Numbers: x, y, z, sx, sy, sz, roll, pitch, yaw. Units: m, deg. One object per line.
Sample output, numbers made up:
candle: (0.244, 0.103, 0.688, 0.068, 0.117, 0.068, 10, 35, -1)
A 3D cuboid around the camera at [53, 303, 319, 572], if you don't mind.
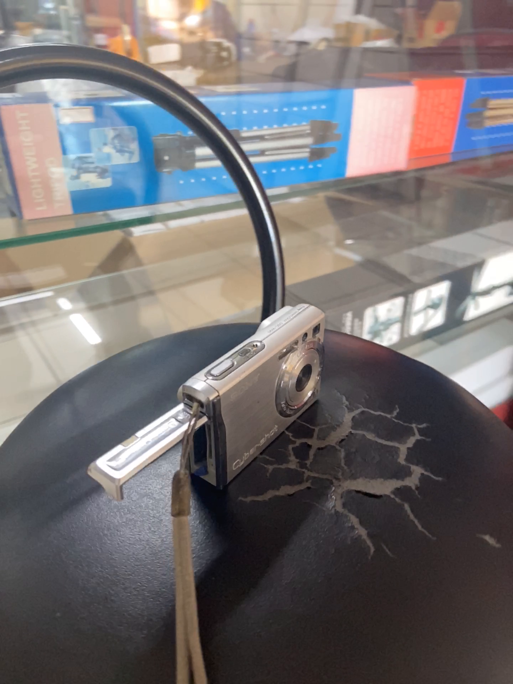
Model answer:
camera: (-0.021, 0.034, 0.247, 0.030, 0.053, 0.136, 21, 37, 31)
